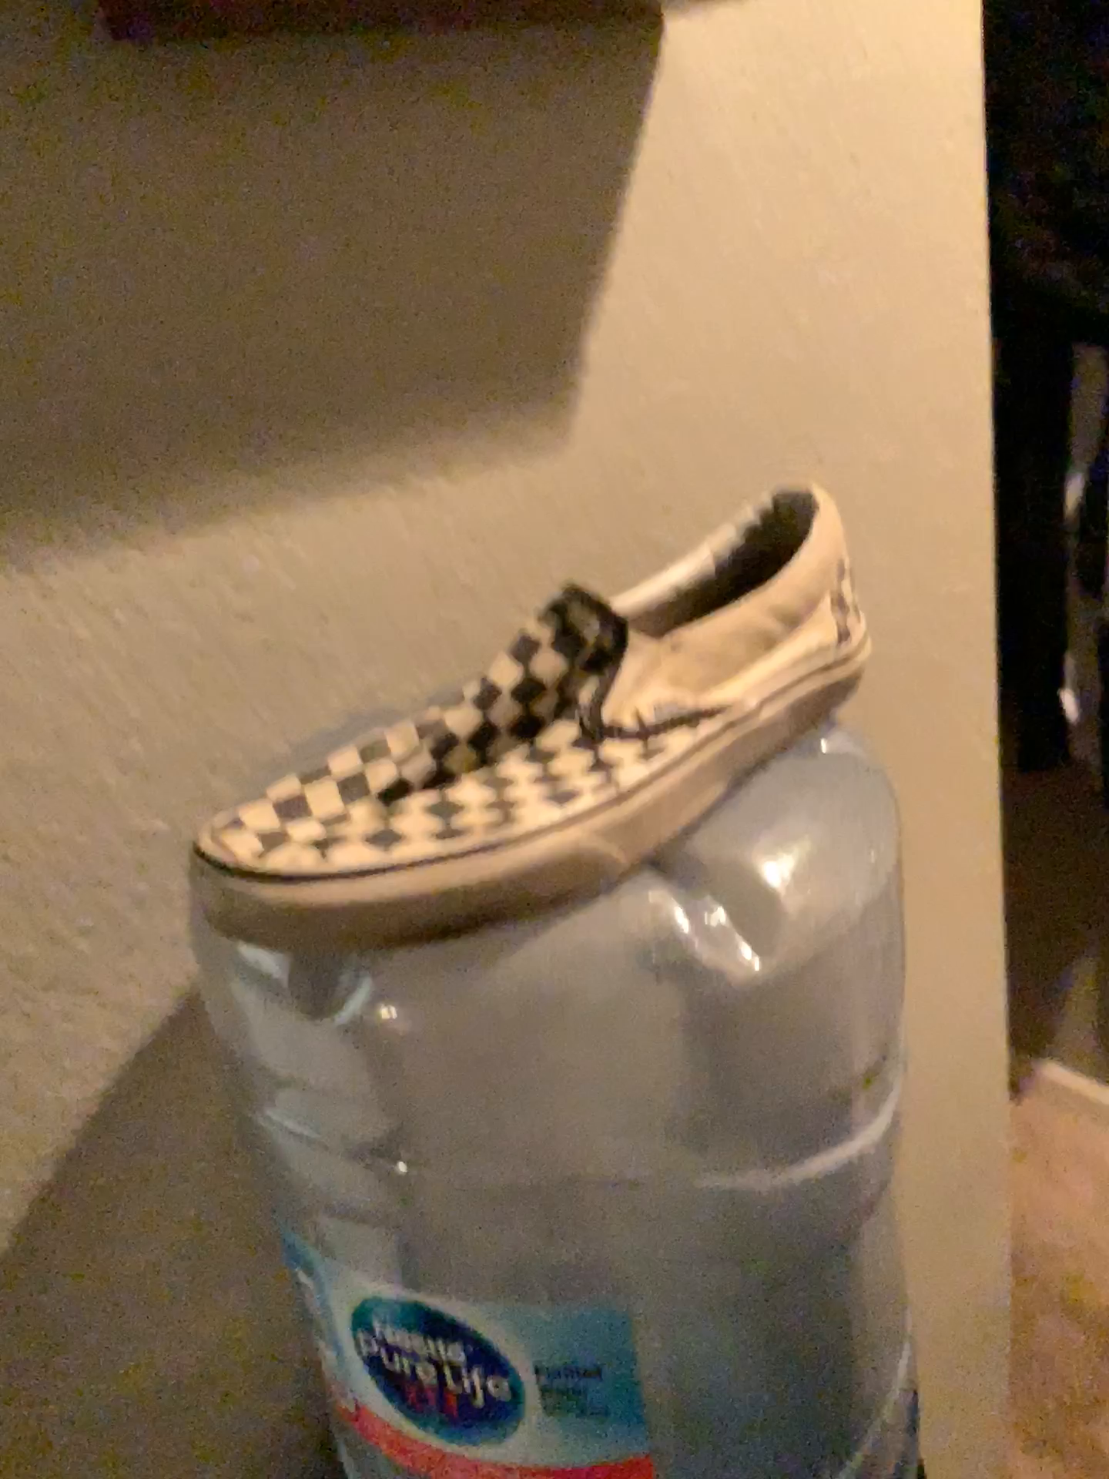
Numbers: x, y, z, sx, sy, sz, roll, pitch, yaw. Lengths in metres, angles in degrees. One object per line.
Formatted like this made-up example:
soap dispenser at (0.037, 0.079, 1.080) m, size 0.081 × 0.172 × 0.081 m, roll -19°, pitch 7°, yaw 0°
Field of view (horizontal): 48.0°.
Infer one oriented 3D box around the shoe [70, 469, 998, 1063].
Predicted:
shoe at (0.005, -0.016, 0.420) m, size 0.280 × 0.080 × 0.130 m, roll -22°, pitch 26°, yaw -29°
